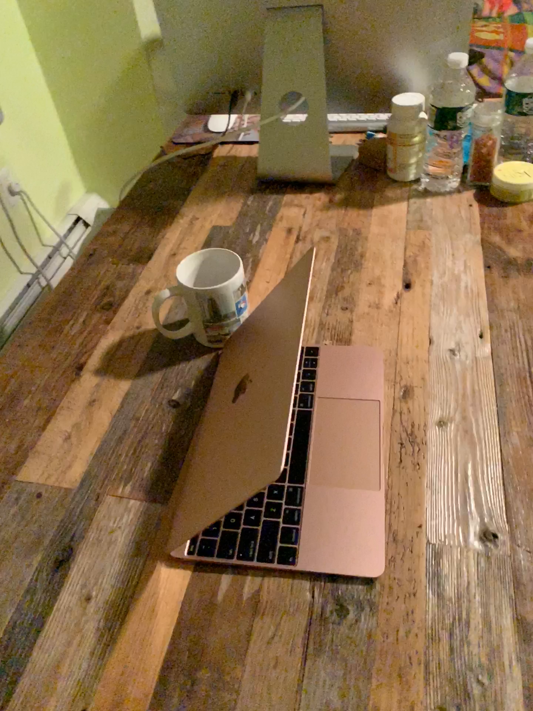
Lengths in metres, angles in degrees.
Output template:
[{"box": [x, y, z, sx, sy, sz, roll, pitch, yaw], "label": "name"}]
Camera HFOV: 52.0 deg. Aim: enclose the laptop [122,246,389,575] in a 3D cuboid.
[{"box": [0.018, 0.036, 0.535, 0.193, 0.145, 0.280, 2, 45, 10], "label": "laptop"}]
